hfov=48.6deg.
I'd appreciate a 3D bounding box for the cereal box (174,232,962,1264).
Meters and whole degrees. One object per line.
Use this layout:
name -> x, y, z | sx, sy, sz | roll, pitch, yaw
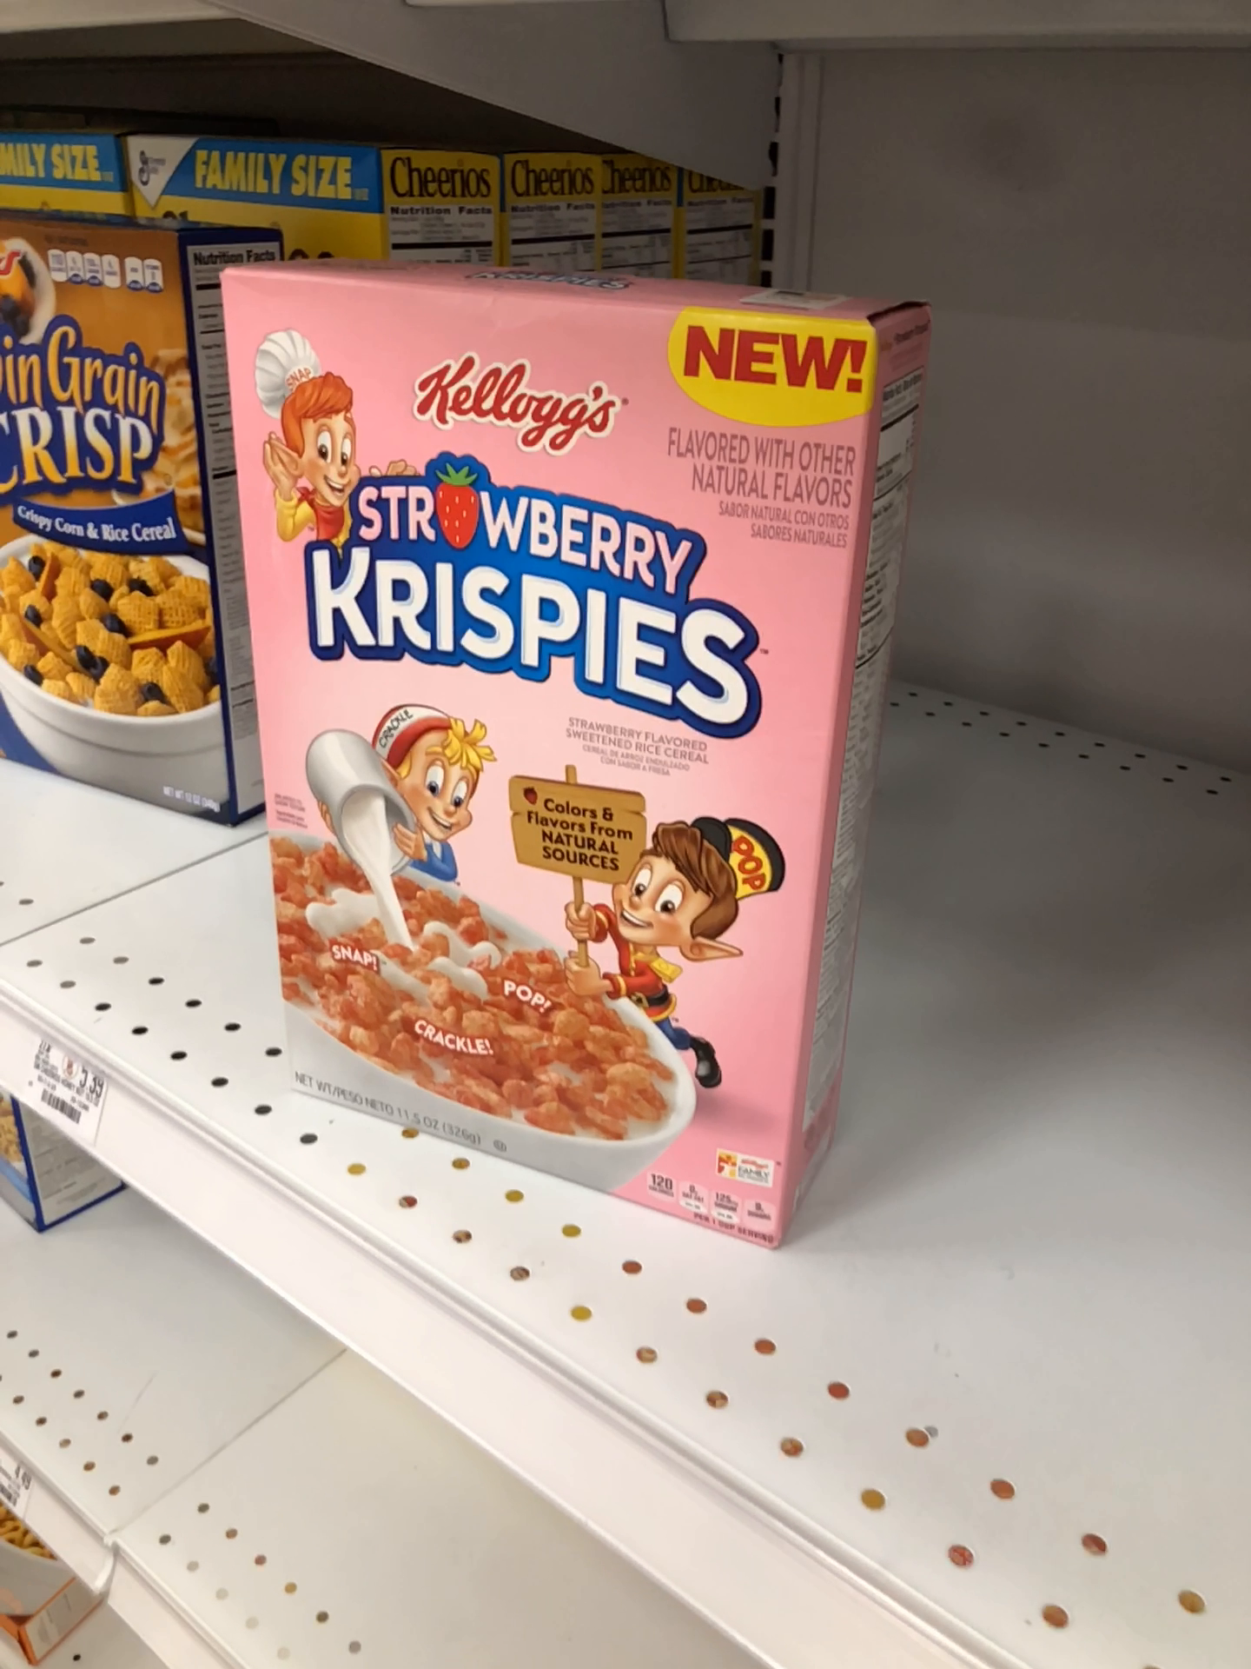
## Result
cereal box -> -0.018, -0.027, 0.437 | 0.200, 0.289, 0.070 | 12, 30, 22
